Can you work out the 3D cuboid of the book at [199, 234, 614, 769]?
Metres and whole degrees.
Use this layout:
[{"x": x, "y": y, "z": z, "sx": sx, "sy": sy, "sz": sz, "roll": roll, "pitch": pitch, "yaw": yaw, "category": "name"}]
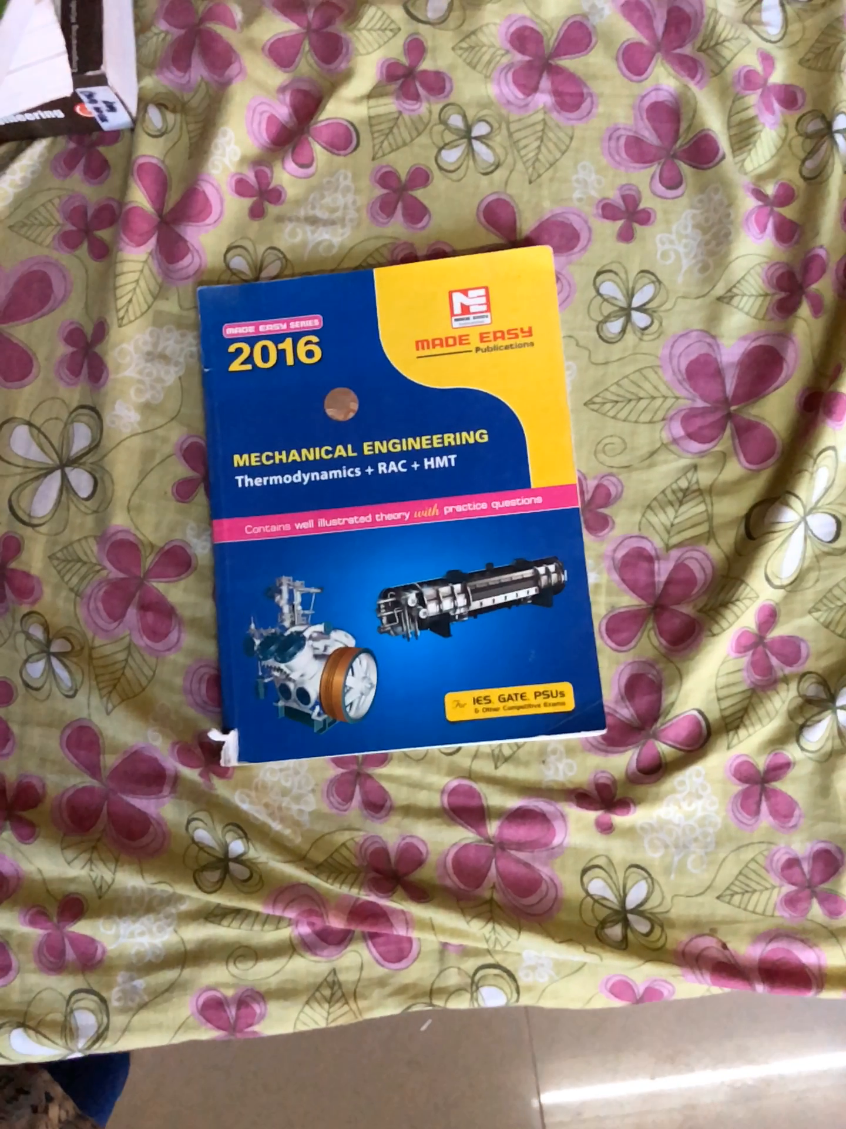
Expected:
[{"x": -0.014, "y": -0.034, "z": 0.517, "sx": 0.200, "sy": 0.030, "sz": 0.269, "roll": -6, "pitch": 82, "yaw": 6, "category": "book"}]
